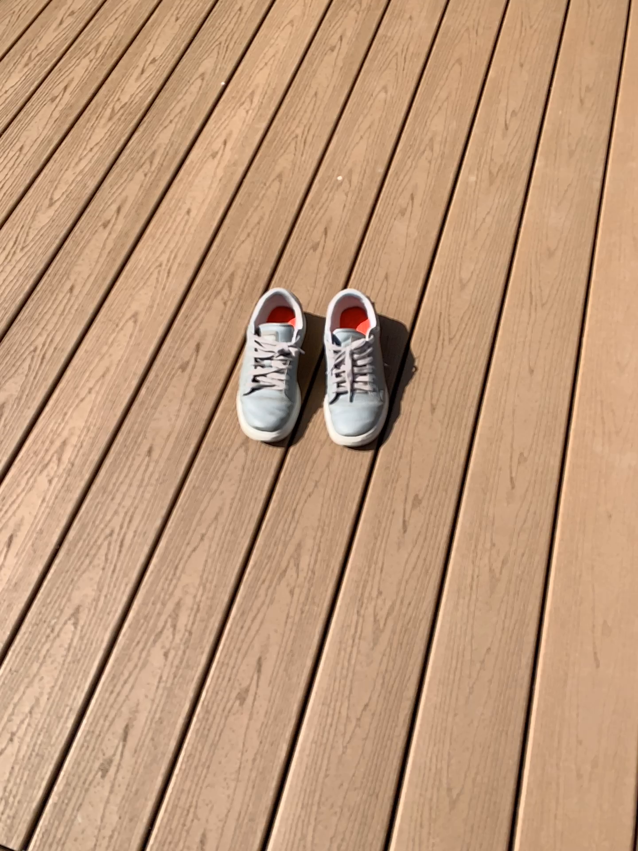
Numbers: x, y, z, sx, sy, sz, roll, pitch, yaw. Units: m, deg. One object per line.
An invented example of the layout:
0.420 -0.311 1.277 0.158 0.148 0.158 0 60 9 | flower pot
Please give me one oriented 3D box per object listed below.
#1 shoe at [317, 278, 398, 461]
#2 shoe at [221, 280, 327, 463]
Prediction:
0.067 -0.097 1.064 0.120 0.100 0.291 2 62 4 | shoe
-0.067 -0.095 1.086 0.120 0.100 0.290 6 63 6 | shoe
